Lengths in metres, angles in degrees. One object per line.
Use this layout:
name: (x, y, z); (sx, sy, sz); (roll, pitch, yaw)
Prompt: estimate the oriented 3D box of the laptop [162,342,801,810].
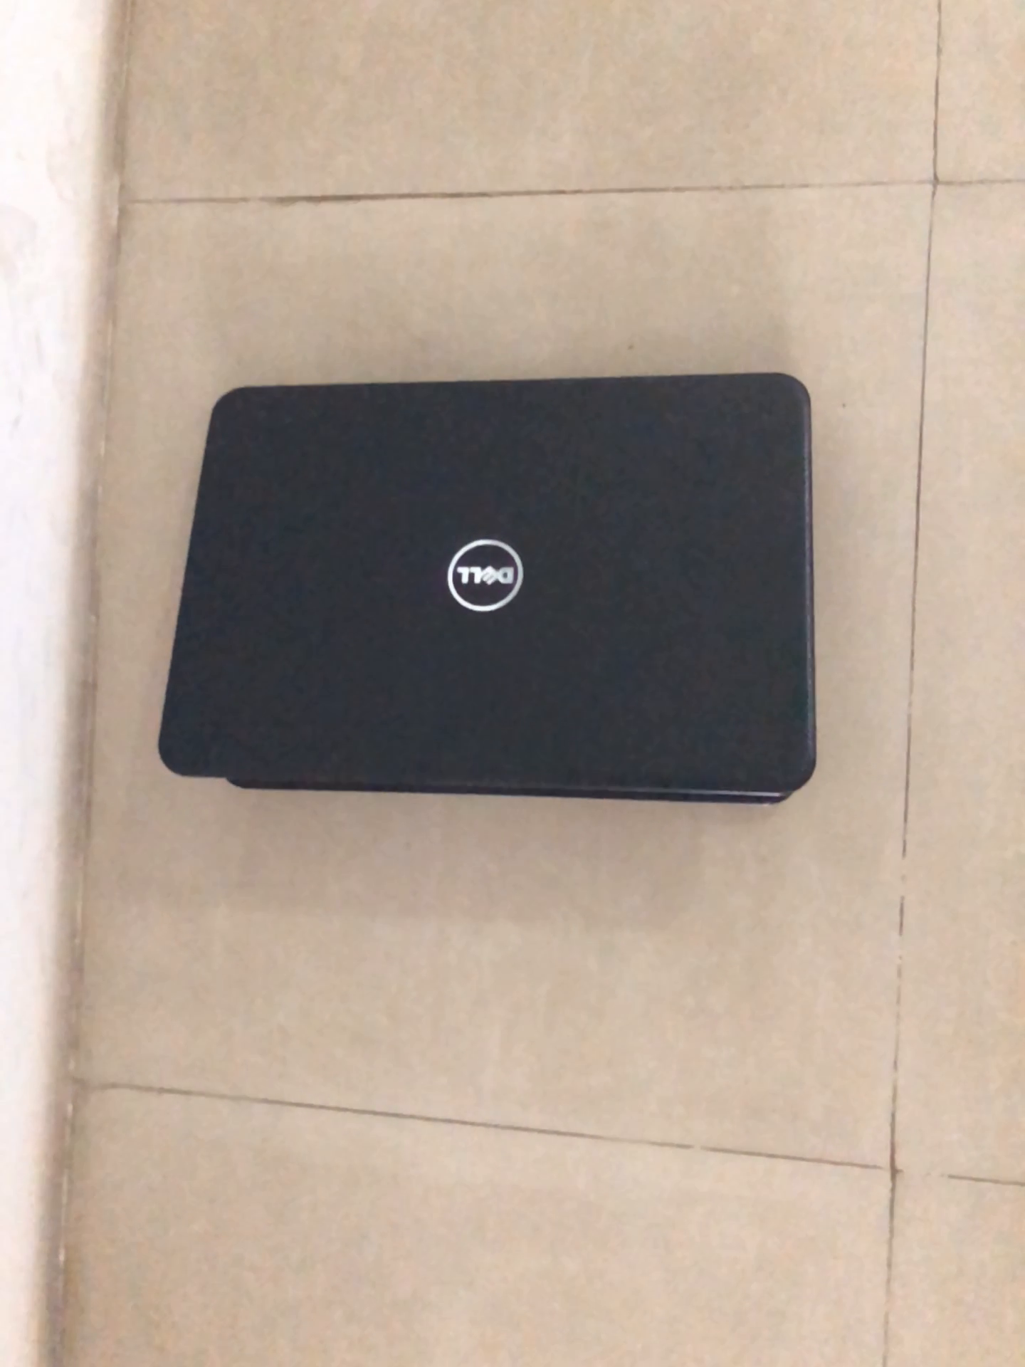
laptop: (-0.018, -0.057, 0.663); (0.357, 0.078, 0.247); (0, 91, 8)
